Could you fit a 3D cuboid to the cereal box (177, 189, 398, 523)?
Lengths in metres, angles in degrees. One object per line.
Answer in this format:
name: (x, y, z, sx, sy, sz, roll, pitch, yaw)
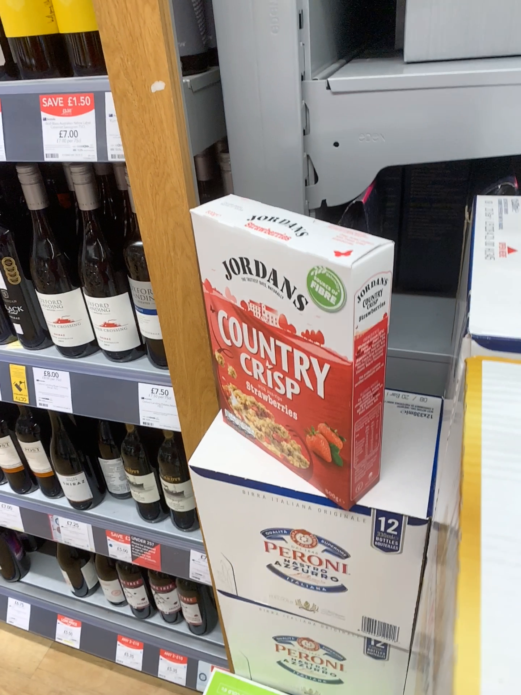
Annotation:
cereal box: (0.021, 0.006, 0.477, 0.050, 0.248, 0.191, -30, 40, -32)
